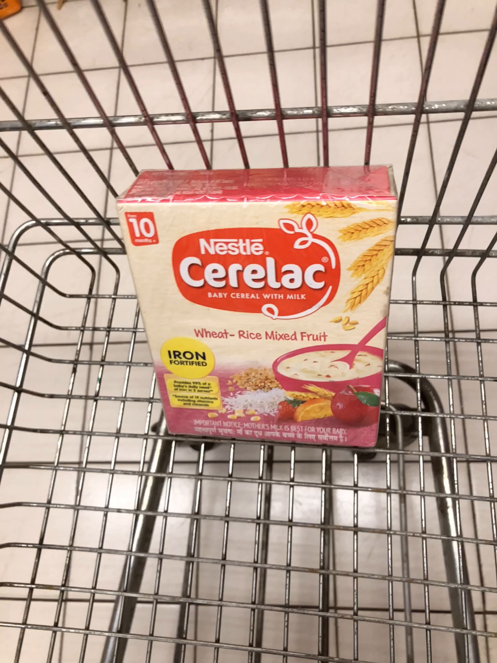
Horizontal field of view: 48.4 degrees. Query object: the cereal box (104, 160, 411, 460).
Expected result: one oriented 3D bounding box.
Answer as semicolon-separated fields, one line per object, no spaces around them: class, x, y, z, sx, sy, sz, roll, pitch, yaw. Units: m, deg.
cereal box;0.011;-0.007;0.346;0.150;0.179;0.060;2;37;8
